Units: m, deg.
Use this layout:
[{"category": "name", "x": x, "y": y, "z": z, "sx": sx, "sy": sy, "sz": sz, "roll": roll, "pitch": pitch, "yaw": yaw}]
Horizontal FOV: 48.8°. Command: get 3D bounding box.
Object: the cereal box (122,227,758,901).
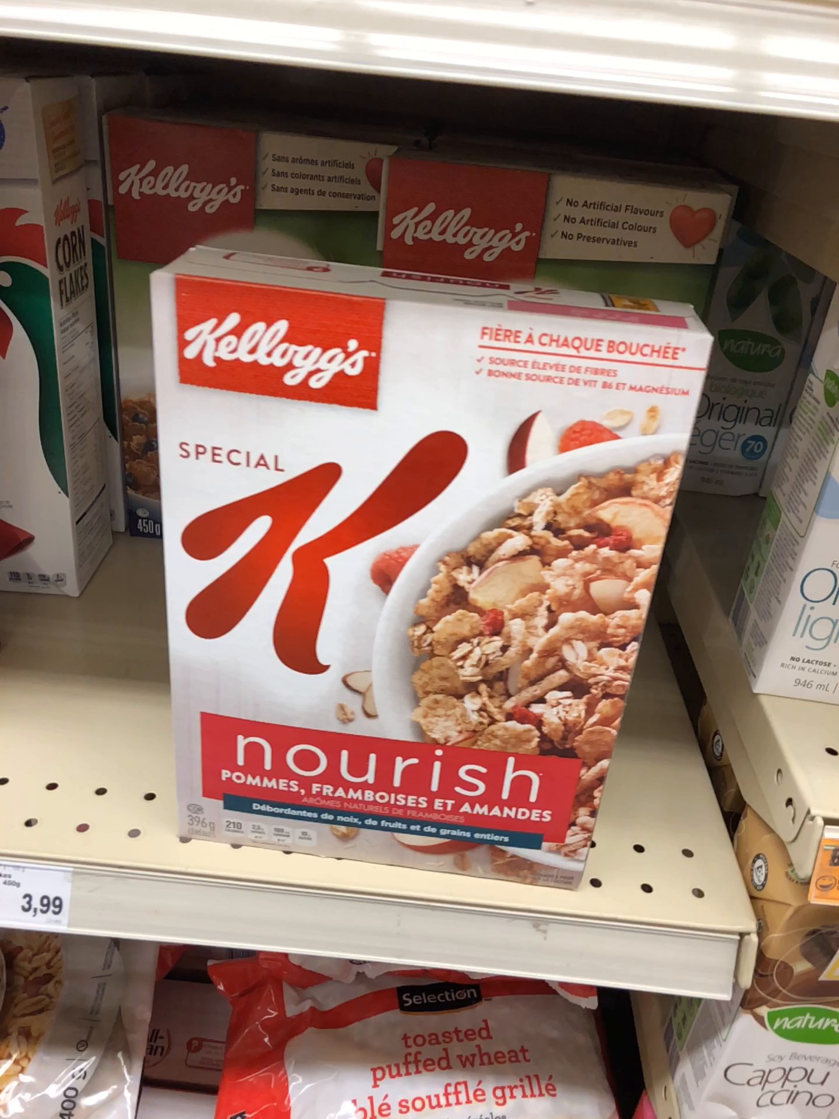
[{"category": "cereal box", "x": -0.004, "y": 0.012, "z": 0.373, "sx": 0.200, "sy": 0.248, "sz": 0.060, "roll": 8, "pitch": 28, "yaw": 2}]
